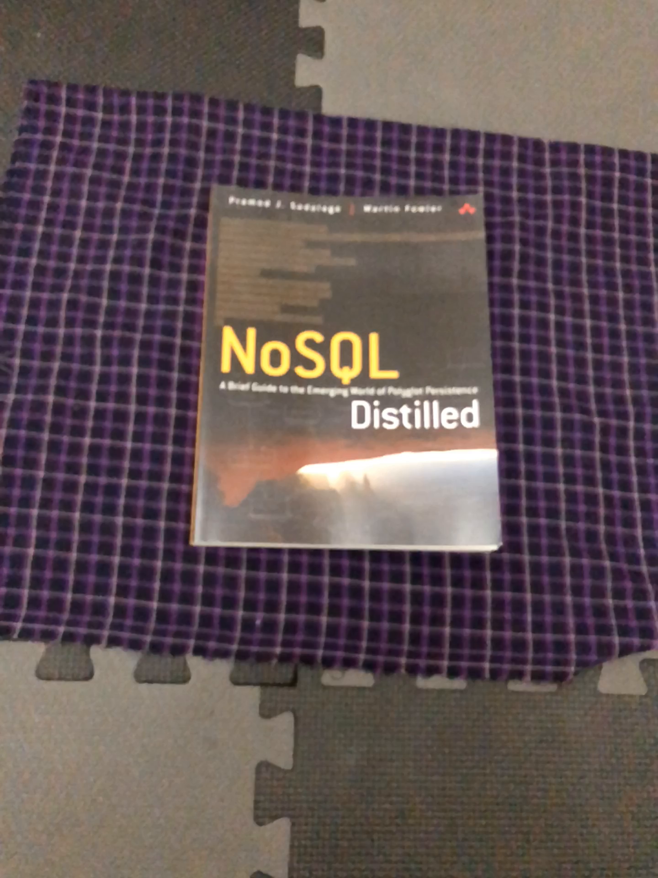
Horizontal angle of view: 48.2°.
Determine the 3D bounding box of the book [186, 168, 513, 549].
[{"bbox_3d":[0.013,-0.057,0.472,0.190,0.020,0.250,1,73,-3],"label":"book"}]
